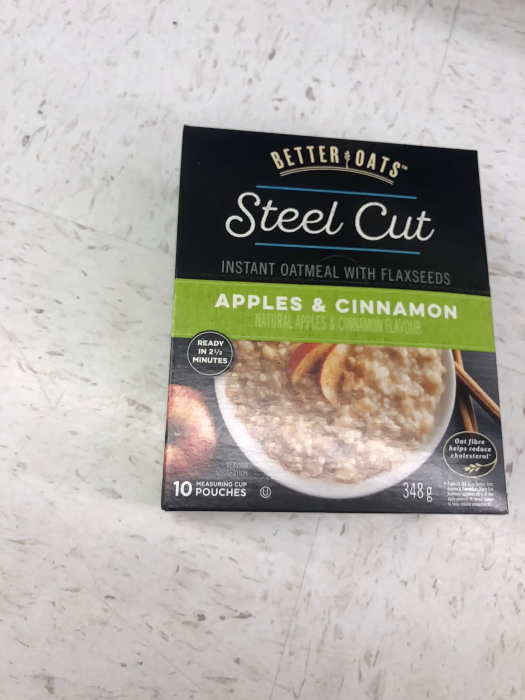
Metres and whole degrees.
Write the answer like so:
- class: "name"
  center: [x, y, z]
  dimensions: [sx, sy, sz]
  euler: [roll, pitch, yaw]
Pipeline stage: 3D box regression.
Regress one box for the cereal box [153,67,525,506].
- class: "cereal box"
  center: [0.033, -0.025, 0.299]
  dimensions: [0.160, 0.070, 0.200]
  euler: [3, 75, -7]
